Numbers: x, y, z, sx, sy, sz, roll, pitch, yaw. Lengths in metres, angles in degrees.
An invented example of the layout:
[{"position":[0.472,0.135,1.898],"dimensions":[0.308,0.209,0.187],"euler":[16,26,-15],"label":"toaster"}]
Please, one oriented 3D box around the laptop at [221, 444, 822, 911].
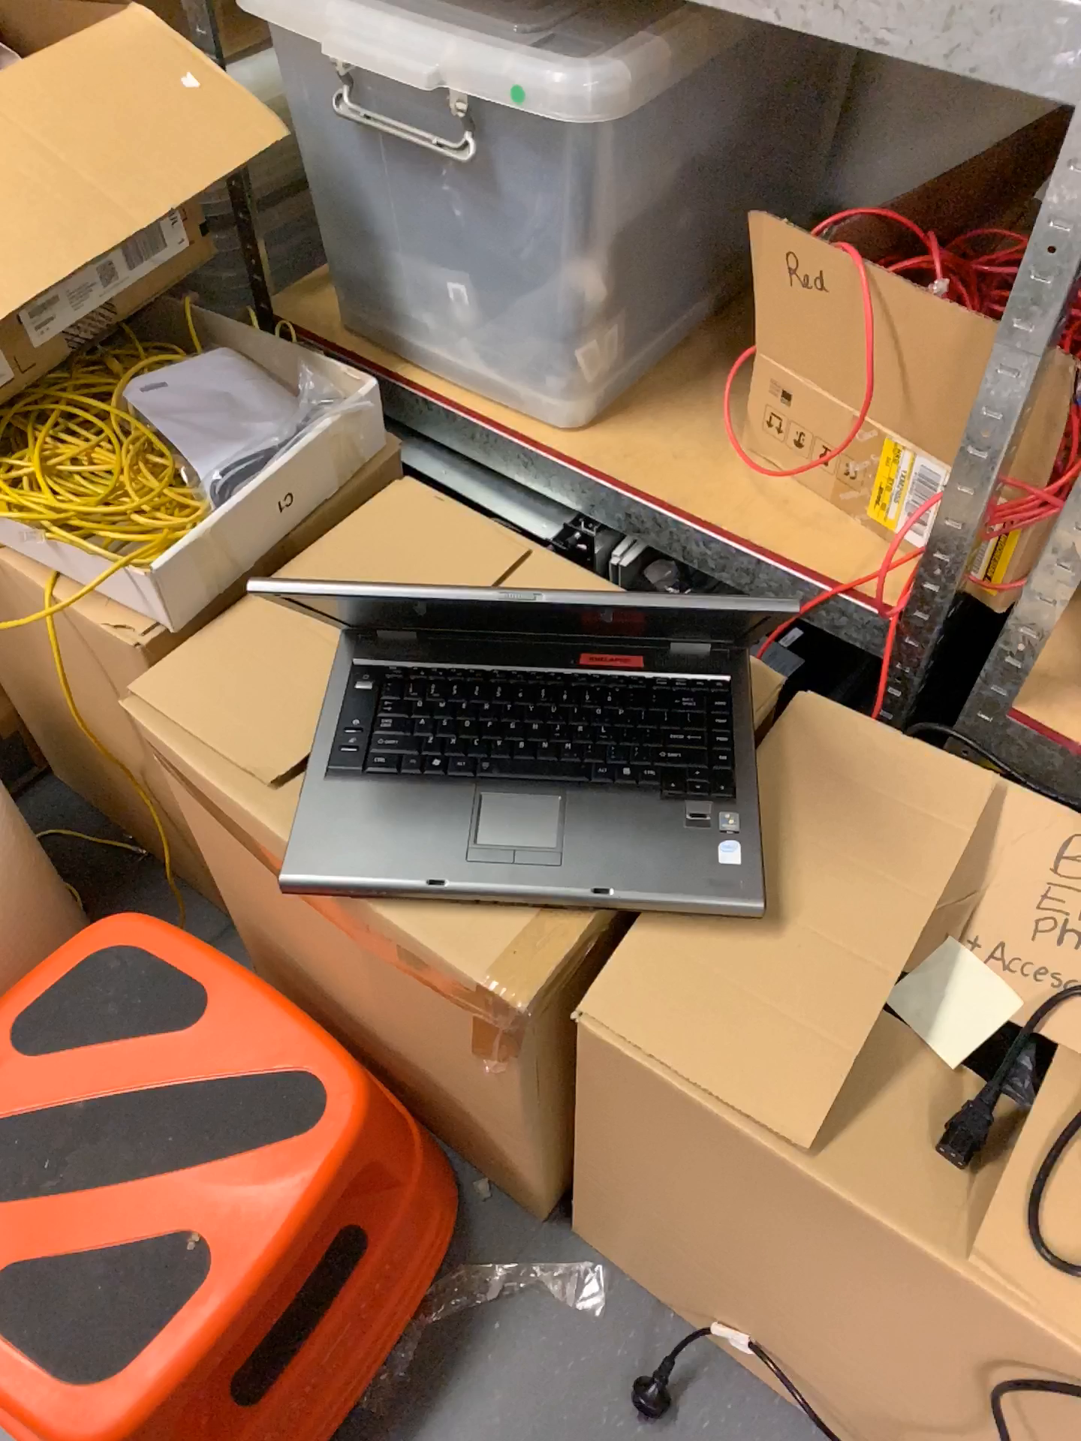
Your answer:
[{"position":[-0.007,-0.034,0.801],"dimensions":[0.352,0.203,0.254],"euler":[3,51,4],"label":"laptop"}]
